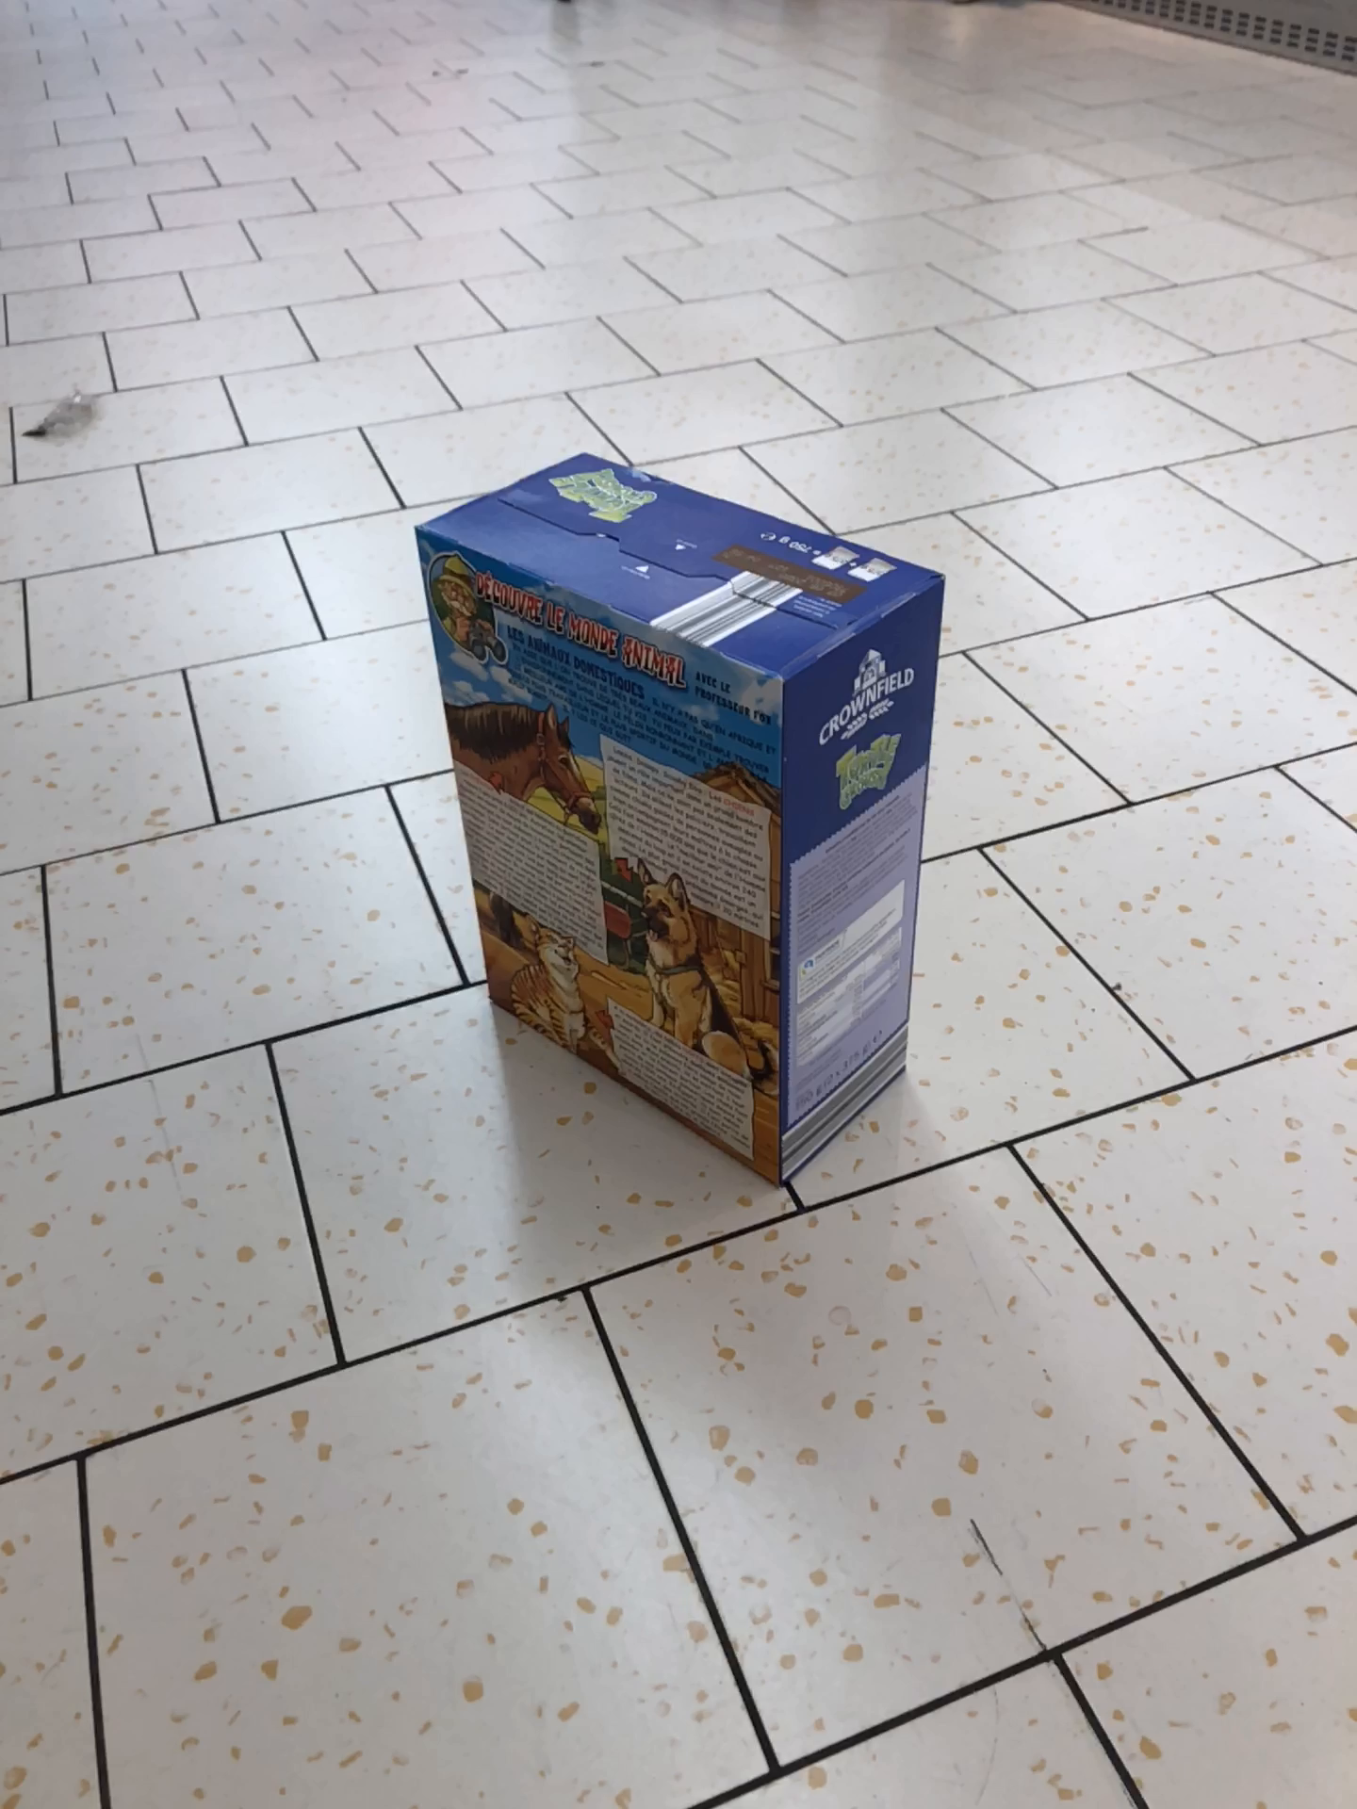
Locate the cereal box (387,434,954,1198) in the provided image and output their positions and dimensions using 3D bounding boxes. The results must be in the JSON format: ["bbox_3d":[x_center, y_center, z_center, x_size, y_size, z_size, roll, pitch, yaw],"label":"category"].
[{"bbox_3d":[-0.003,-0.040,0.643,0.200,0.258,0.101,28,47,33],"label":"cereal box"}]
